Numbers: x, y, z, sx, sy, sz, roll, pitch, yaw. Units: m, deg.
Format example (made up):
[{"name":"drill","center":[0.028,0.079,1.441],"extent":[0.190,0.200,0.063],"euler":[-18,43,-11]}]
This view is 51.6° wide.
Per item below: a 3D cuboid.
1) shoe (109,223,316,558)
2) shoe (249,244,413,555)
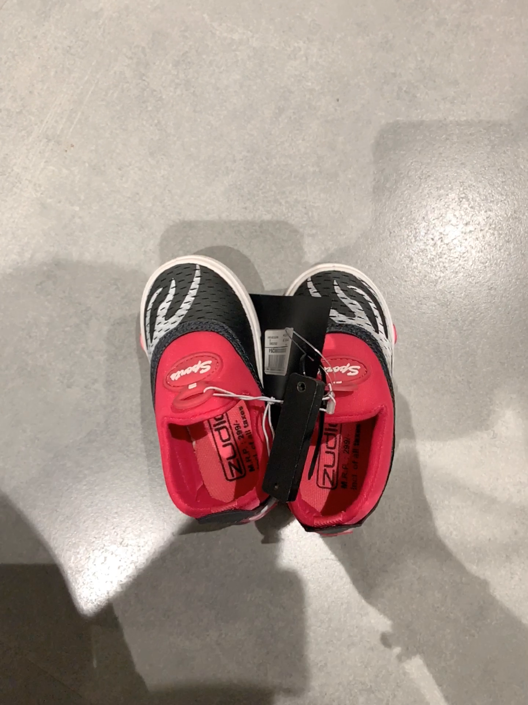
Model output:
[{"name":"shoe","center":[-0.023,0.018,0.277],"extent":[0.060,0.060,0.140],"euler":[-15,86,1]},{"name":"shoe","center":[0.033,0.022,0.282],"extent":[0.070,0.060,0.140],"euler":[2,86,3]}]
